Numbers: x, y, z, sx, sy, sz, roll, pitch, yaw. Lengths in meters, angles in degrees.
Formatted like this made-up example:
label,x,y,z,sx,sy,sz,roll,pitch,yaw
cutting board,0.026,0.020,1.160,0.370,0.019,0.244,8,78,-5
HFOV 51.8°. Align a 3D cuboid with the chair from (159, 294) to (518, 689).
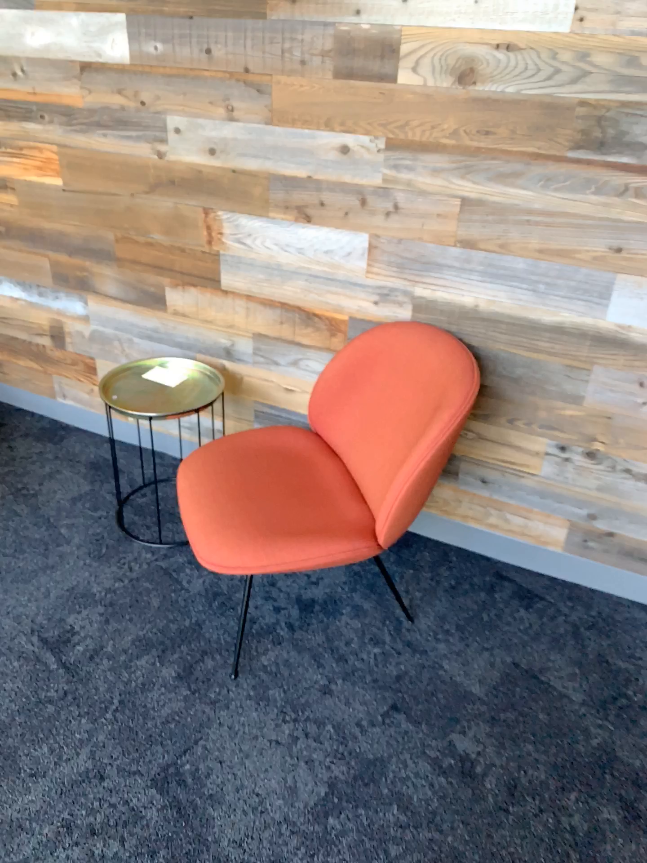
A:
label,x,y,z,sx,sy,sz,roll,pitch,yaw
chair,-0.008,0.119,1.808,0.710,0.755,0.573,-9,33,-19
